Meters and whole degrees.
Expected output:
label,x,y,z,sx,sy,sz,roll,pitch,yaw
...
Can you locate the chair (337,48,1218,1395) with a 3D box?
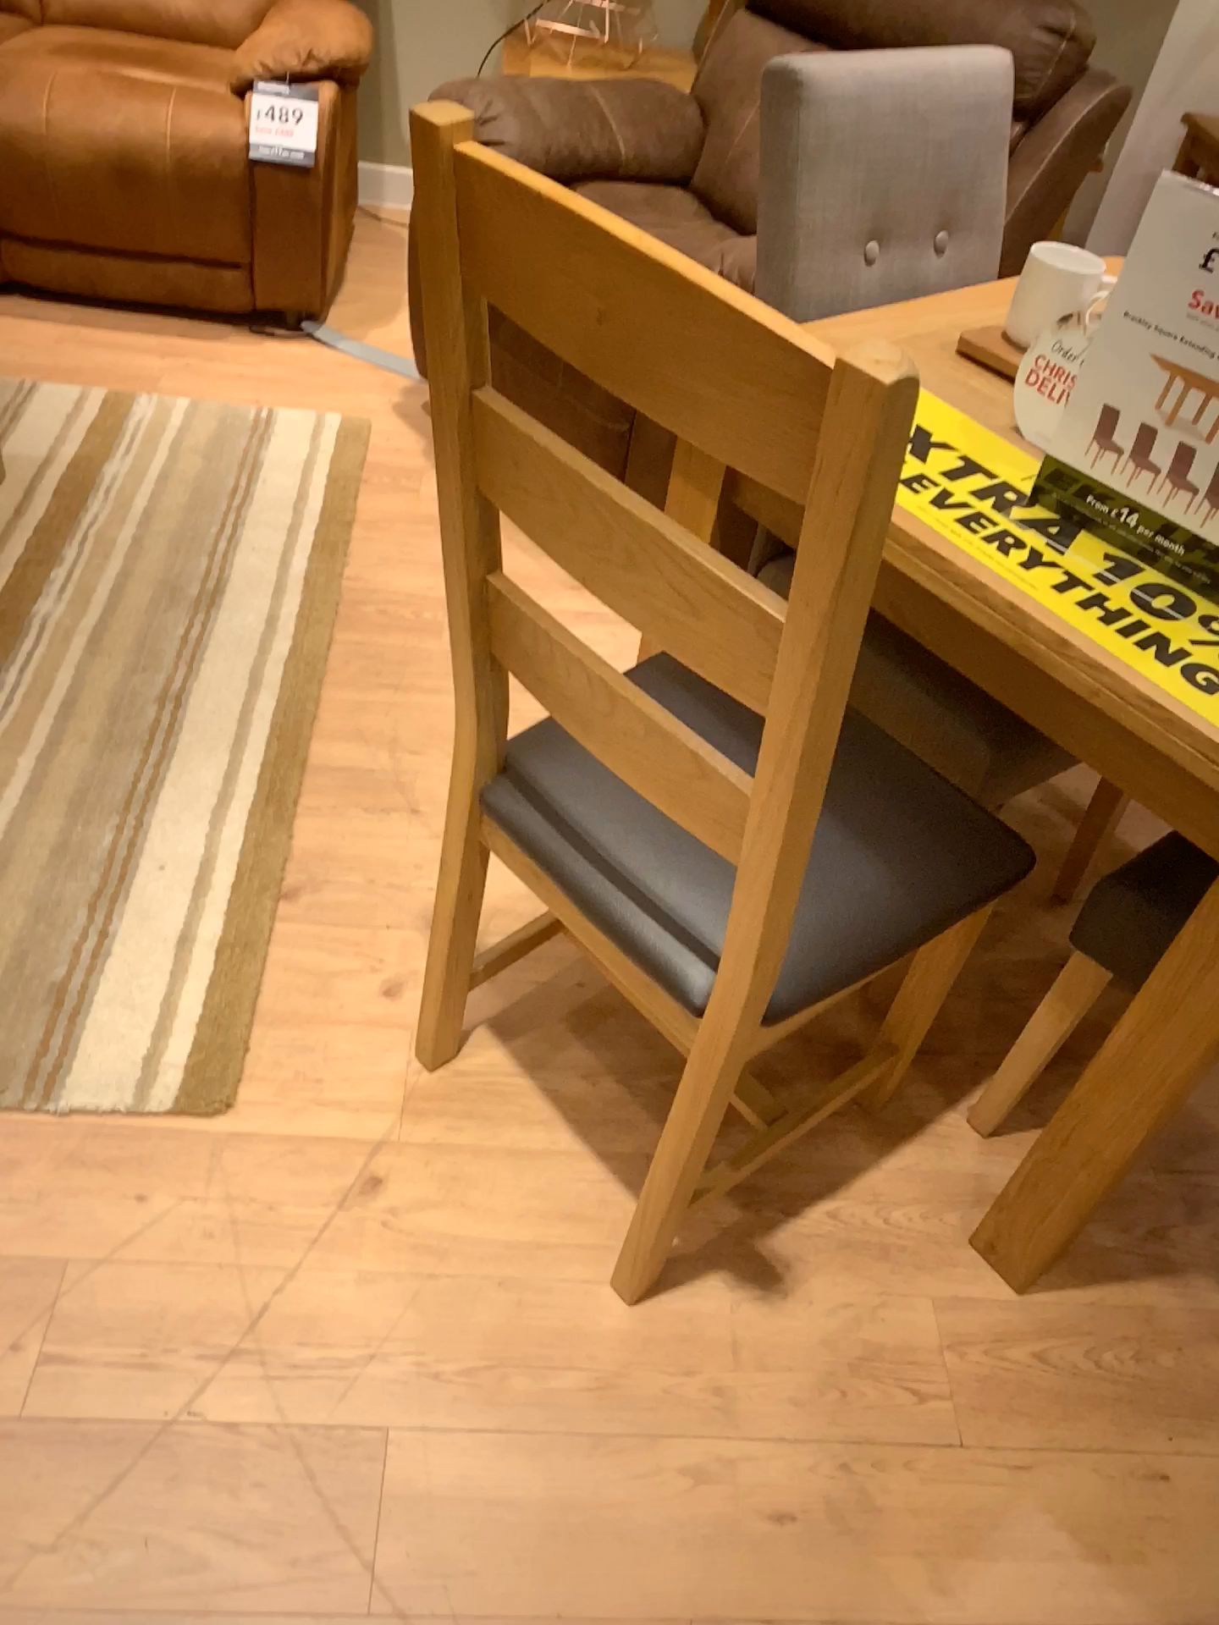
label,x,y,z,sx,sy,sz,roll,pitch,yaw
chair,0.114,-0.026,1.183,0.552,1.100,0.472,-25,54,-32
